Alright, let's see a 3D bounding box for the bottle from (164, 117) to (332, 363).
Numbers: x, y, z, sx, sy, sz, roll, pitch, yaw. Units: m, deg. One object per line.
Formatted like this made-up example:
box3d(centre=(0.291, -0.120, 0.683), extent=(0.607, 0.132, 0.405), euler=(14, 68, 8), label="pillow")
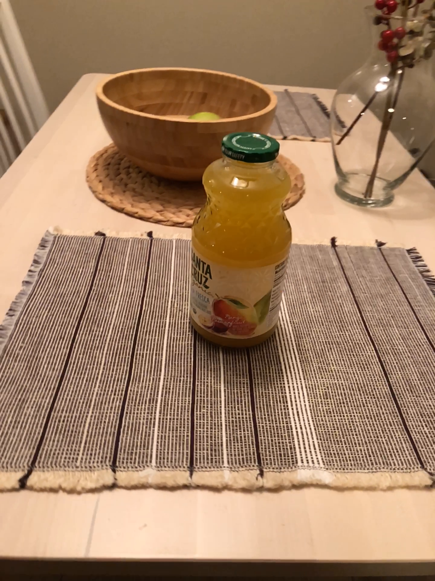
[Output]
box3d(centre=(0.018, -0.048, 0.456), extent=(0.100, 0.189, 0.100), euler=(3, 37, -2), label="bottle")
